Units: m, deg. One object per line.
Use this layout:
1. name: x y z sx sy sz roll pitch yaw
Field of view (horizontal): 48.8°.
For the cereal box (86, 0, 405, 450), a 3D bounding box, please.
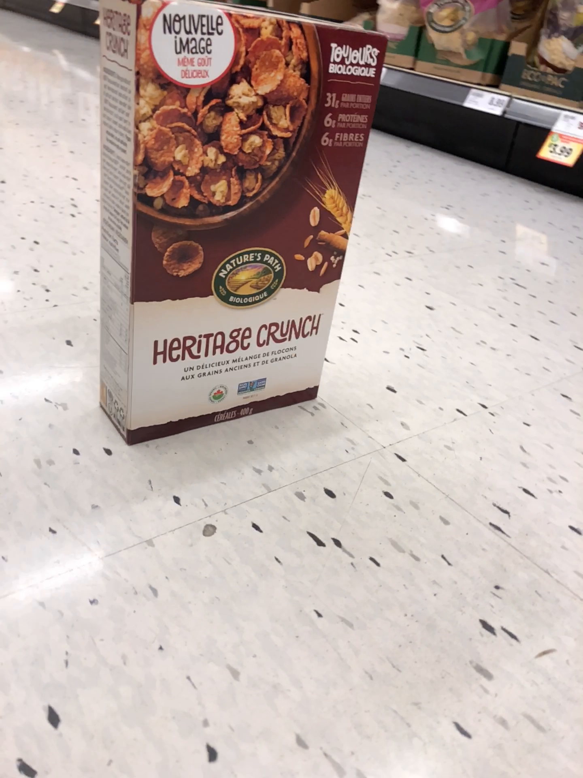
1. cereal box: -0.036 -0.099 0.416 0.170 0.248 0.060 -13 37 -34
